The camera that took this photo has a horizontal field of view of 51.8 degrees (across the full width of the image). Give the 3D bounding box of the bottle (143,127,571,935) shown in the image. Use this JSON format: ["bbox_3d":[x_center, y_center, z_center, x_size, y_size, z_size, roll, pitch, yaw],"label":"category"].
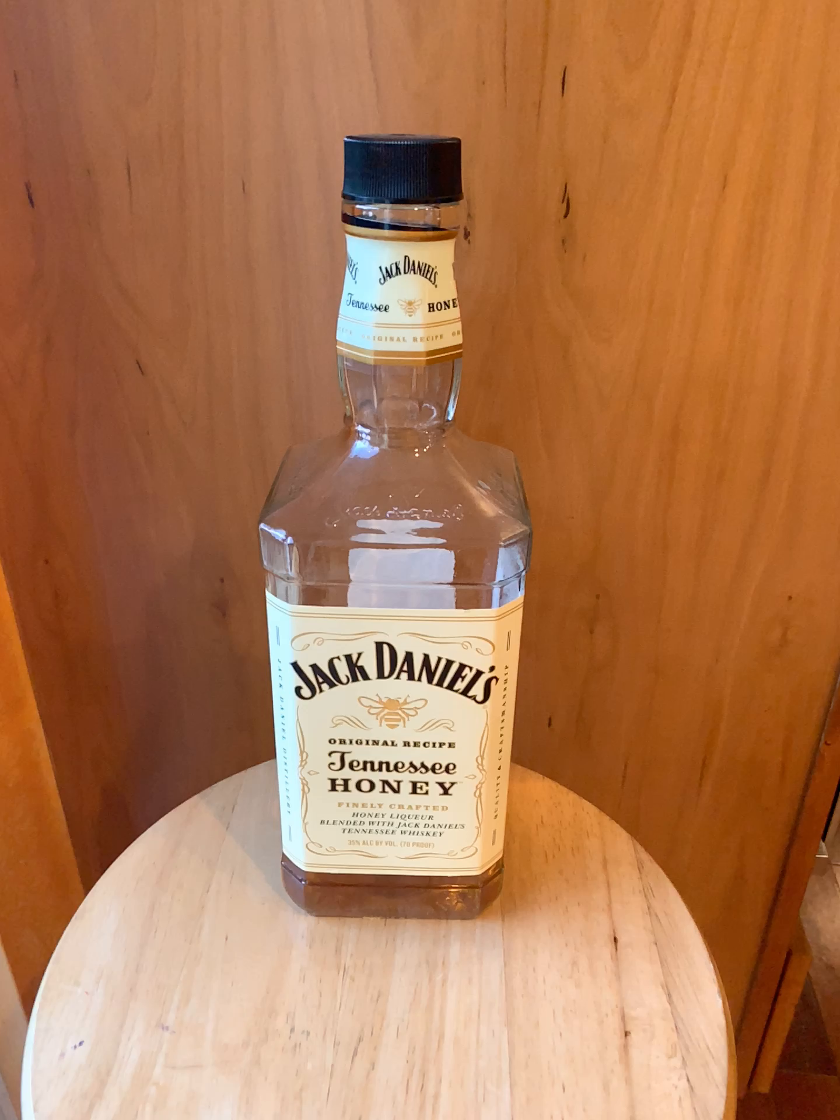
[{"bbox_3d":[-0.019,0.004,0.365,0.120,0.328,0.101,1,28,0],"label":"bottle"}]
